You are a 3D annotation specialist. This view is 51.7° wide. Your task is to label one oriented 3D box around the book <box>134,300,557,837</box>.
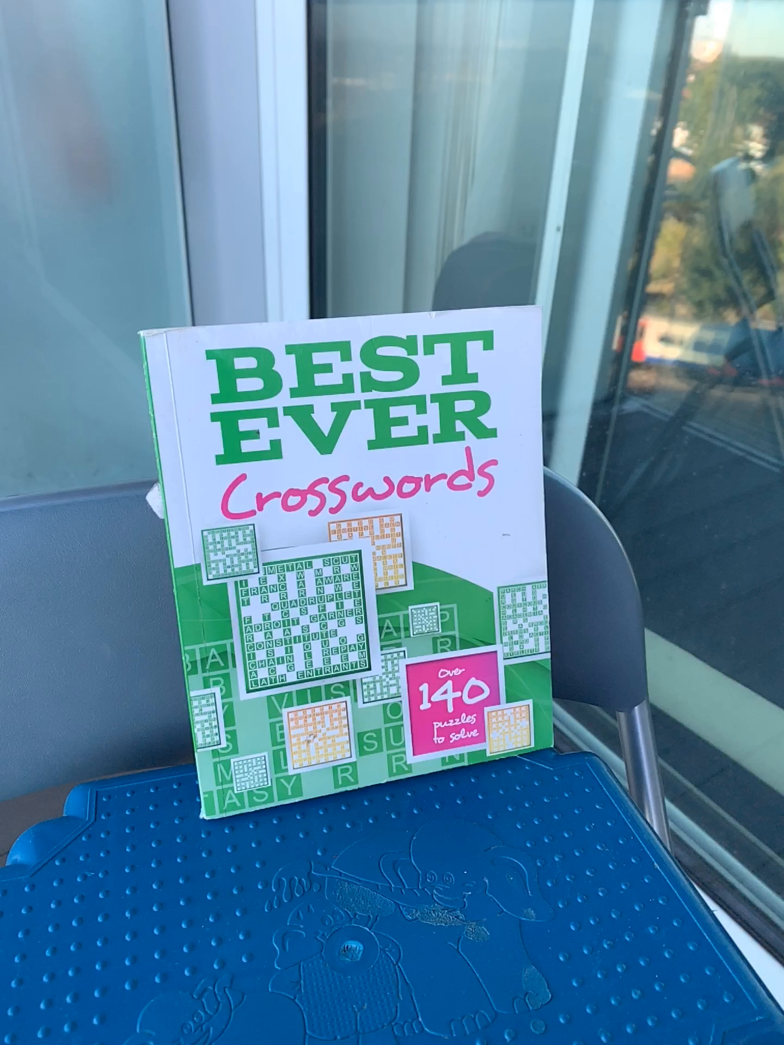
[{"bbox_3d":[-0.013,0.014,0.334,0.157,0.196,0.030,-7,10,-17],"label":"book"}]
